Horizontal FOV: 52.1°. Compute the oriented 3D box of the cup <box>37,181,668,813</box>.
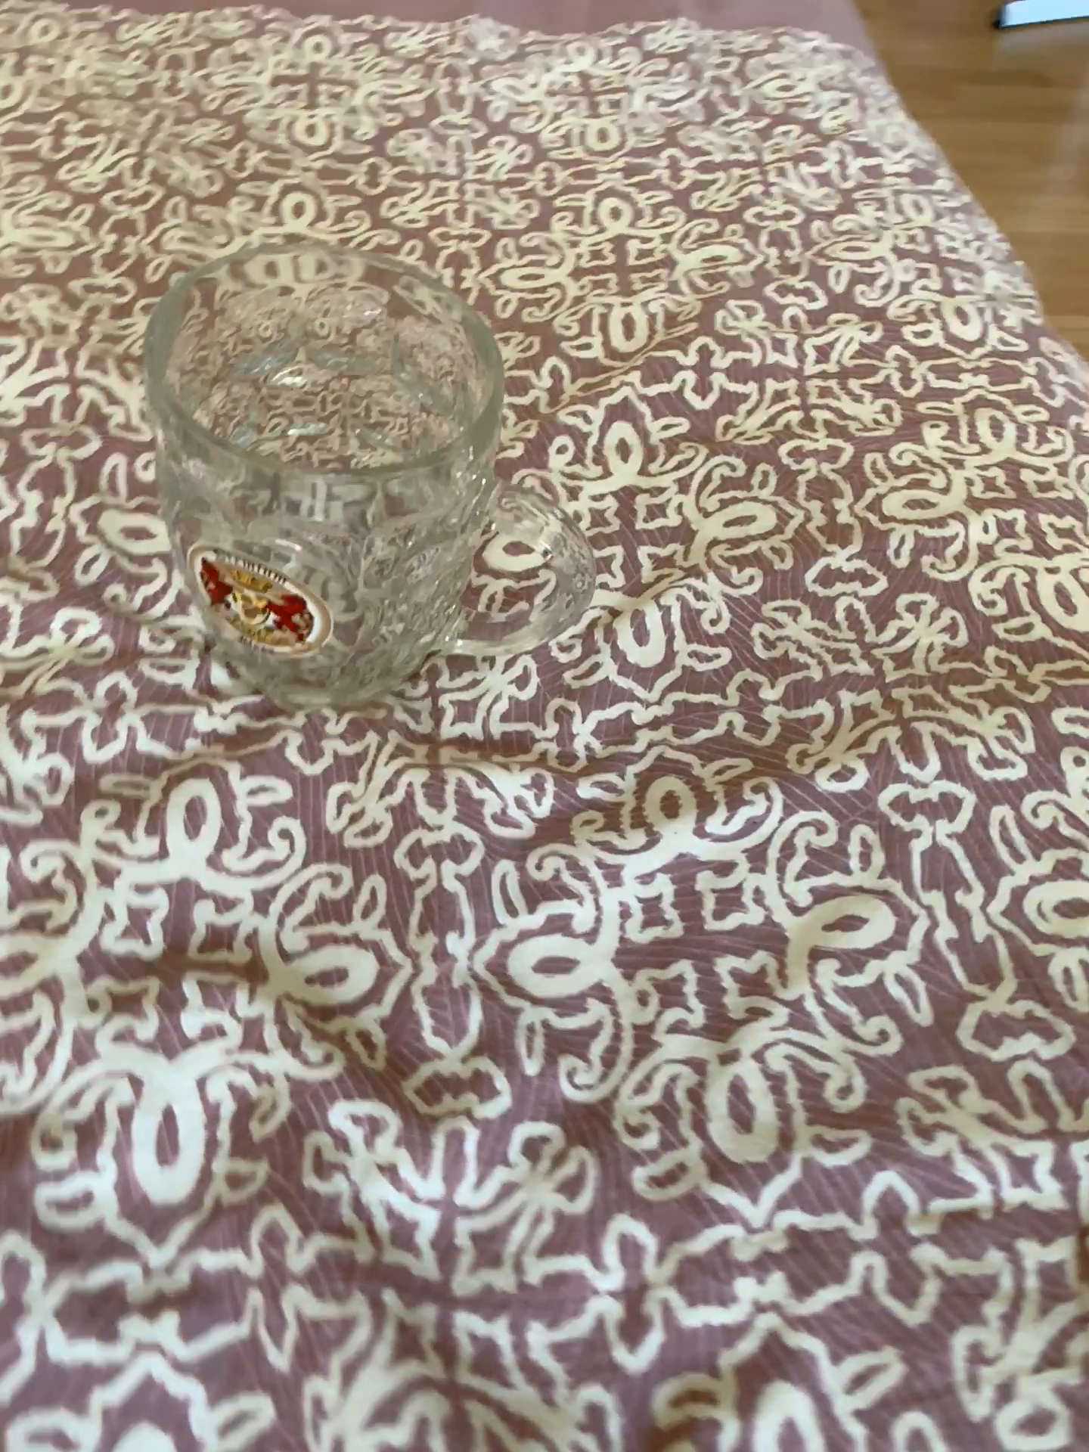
[{"bbox_3d":[-0.046,-0.060,0.310,0.120,0.109,0.091,21,58,7],"label":"cup"}]
